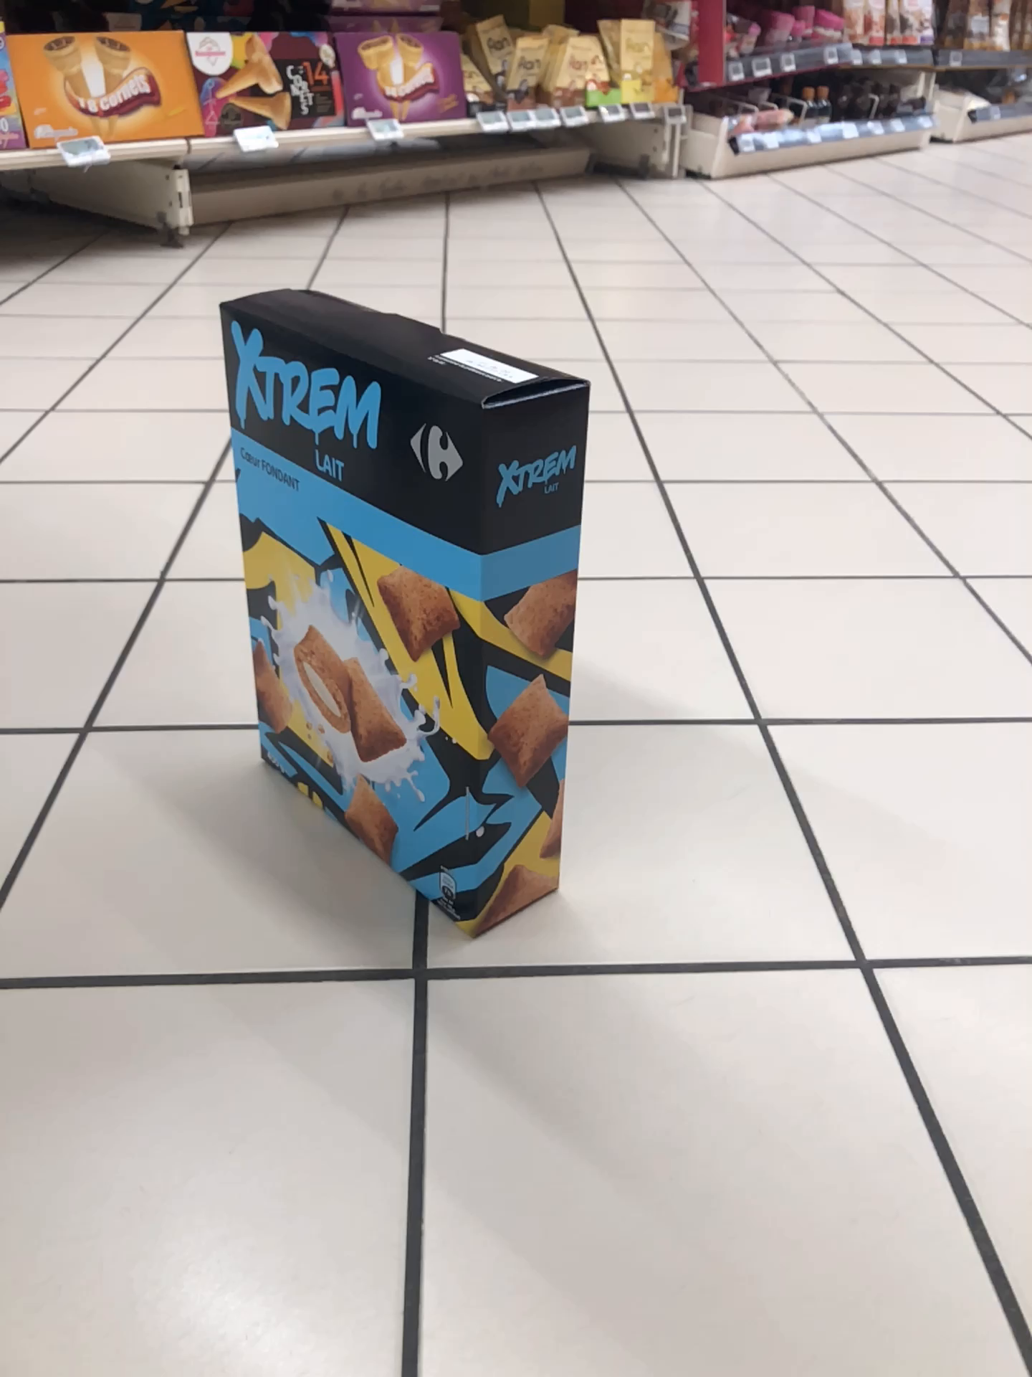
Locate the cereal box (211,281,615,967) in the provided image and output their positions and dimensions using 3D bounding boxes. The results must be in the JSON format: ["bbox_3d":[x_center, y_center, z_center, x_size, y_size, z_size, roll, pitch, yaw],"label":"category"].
[{"bbox_3d":[-0.053,-0.035,0.530,0.060,0.258,0.200,-22,38,-34],"label":"cereal box"}]
